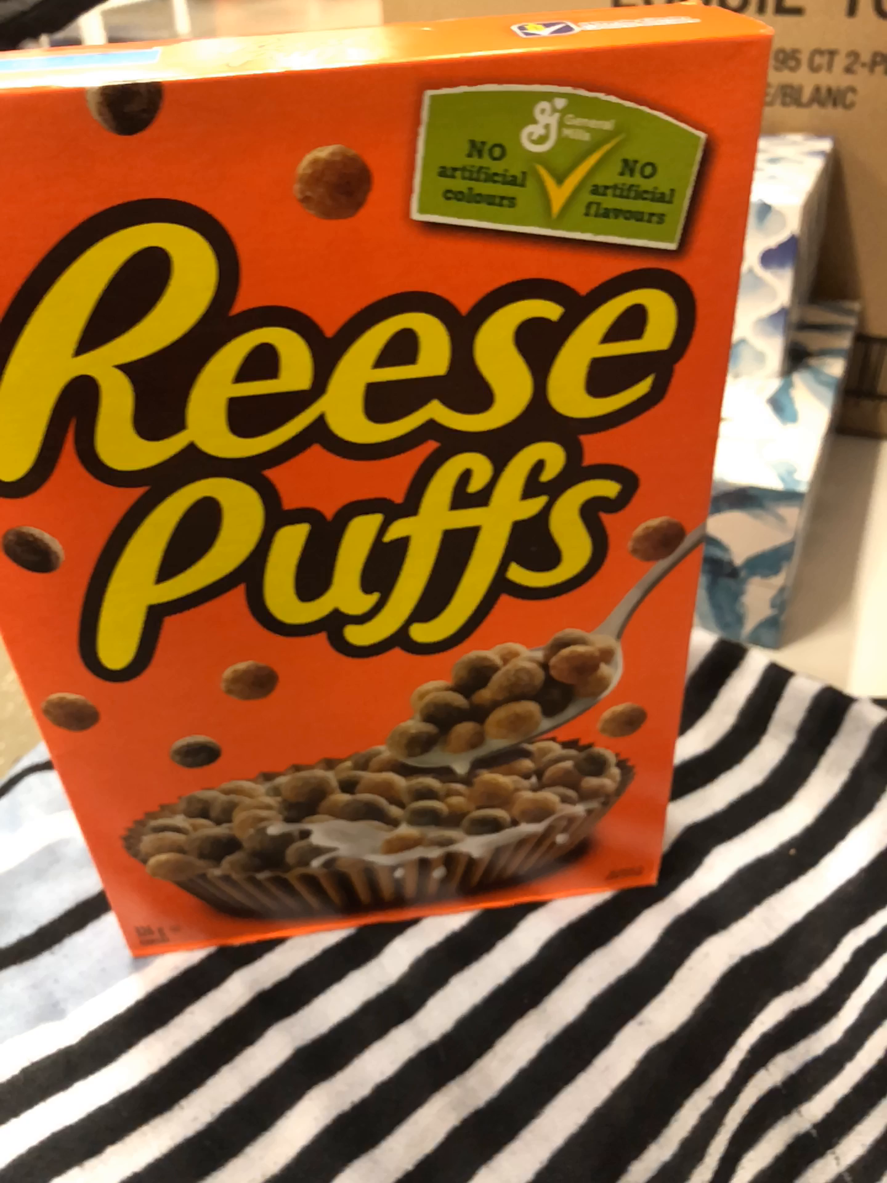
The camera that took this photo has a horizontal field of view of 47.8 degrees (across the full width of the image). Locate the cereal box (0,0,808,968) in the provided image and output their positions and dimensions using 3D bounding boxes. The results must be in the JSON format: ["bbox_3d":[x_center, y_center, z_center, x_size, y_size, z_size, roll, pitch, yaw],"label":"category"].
[{"bbox_3d":[-0.031,-0.008,0.275,0.210,0.269,0.040,-7,36,-4],"label":"cereal box"}]
